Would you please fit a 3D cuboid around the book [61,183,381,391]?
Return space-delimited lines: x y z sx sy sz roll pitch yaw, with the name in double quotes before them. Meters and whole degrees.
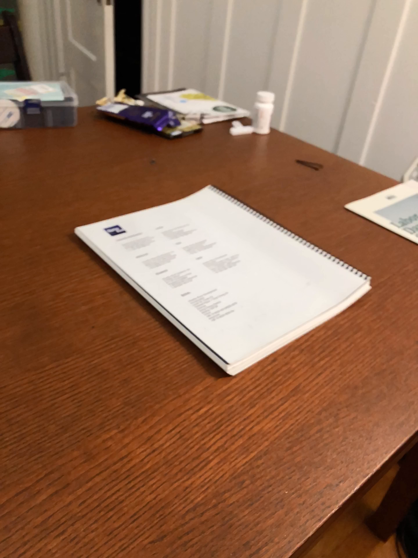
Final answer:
"book" 0.005 -0.024 0.544 0.231 0.020 0.301 -23 45 -35
